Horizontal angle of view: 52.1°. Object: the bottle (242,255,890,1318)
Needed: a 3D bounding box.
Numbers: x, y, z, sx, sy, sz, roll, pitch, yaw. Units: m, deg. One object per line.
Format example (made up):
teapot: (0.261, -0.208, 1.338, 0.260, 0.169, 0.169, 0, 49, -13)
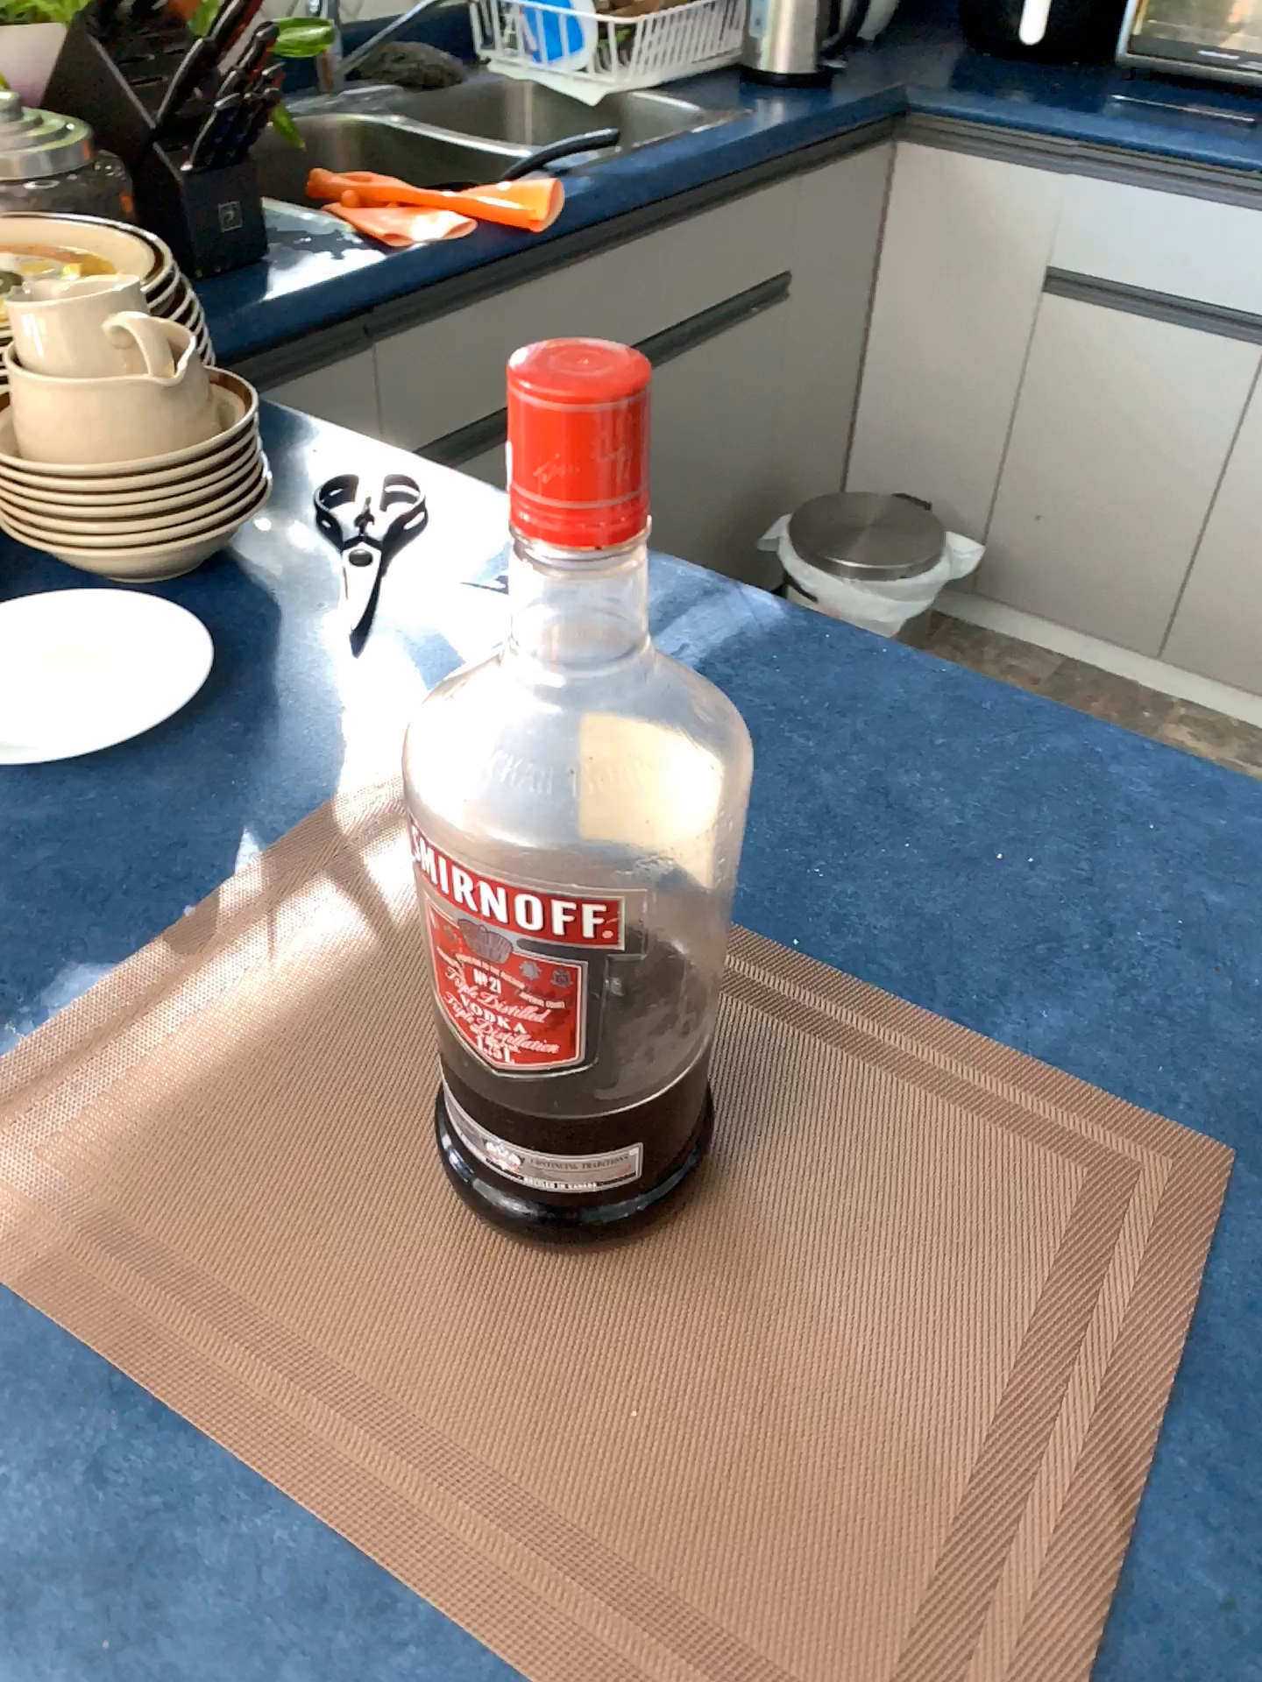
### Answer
bottle: (-0.017, 0.000, 0.423, 0.120, 0.317, 0.111, 1, 40, -1)
